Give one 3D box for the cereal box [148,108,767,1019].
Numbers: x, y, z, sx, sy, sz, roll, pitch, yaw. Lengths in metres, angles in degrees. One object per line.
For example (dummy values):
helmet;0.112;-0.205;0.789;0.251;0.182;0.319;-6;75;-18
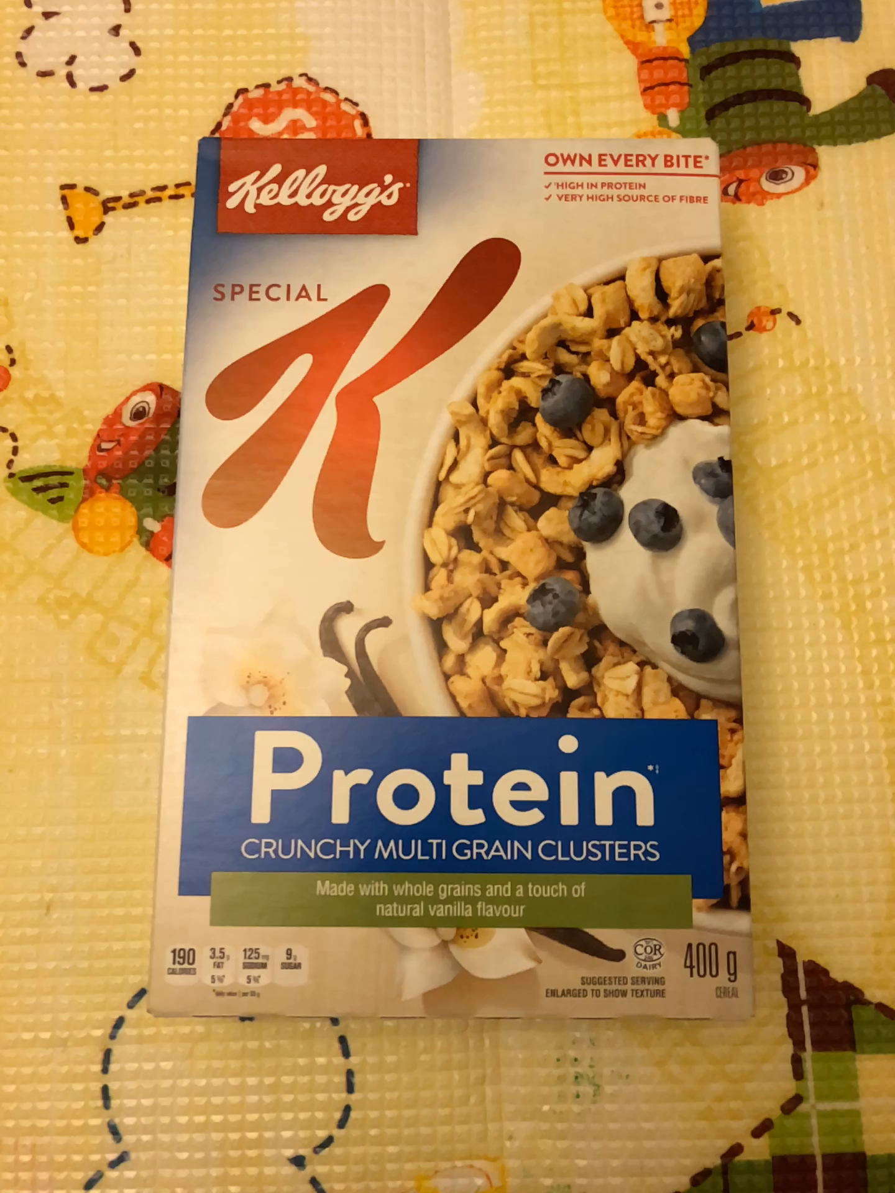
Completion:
cereal box;0.005;-0.012;0.302;0.160;0.060;0.250;2;82;-2
